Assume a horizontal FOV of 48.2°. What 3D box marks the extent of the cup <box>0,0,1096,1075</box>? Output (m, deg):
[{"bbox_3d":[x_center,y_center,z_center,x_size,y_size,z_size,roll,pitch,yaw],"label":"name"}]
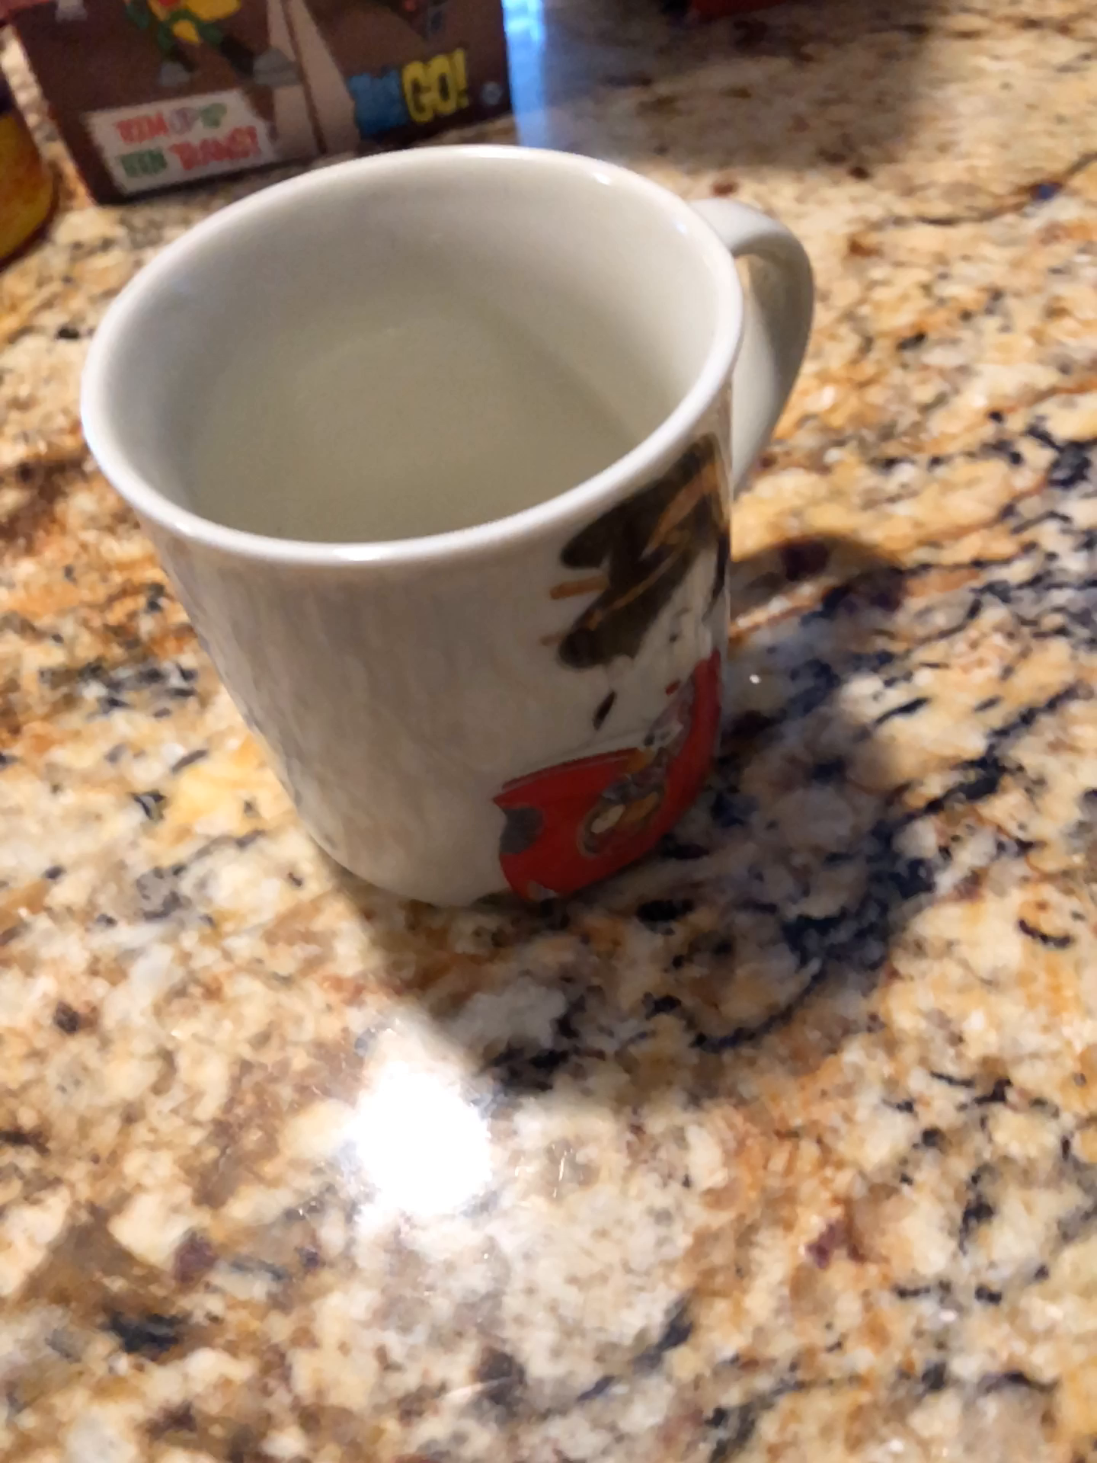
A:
[{"bbox_3d":[0.002,-0.036,0.190,0.090,0.089,0.120,35,64,28],"label":"cup"}]
